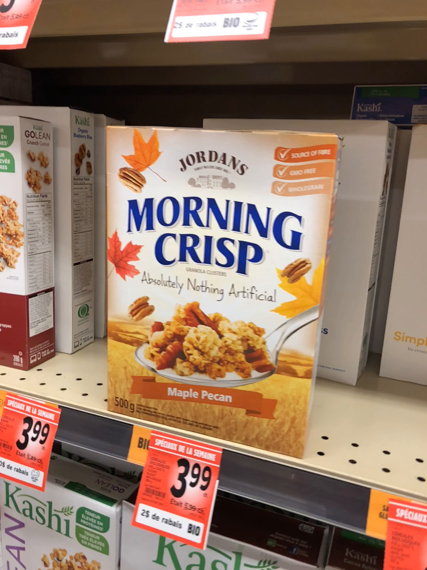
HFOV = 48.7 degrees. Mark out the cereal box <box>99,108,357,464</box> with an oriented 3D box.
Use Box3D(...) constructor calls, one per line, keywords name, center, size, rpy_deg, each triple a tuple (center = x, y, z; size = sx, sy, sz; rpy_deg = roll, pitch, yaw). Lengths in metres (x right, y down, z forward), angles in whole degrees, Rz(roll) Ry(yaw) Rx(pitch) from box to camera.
Box3D(name="cereal box", center=(0.002, -0.004, 0.392), size=(0.190, 0.259, 0.050), rpy_deg=(9, 15, 18))
